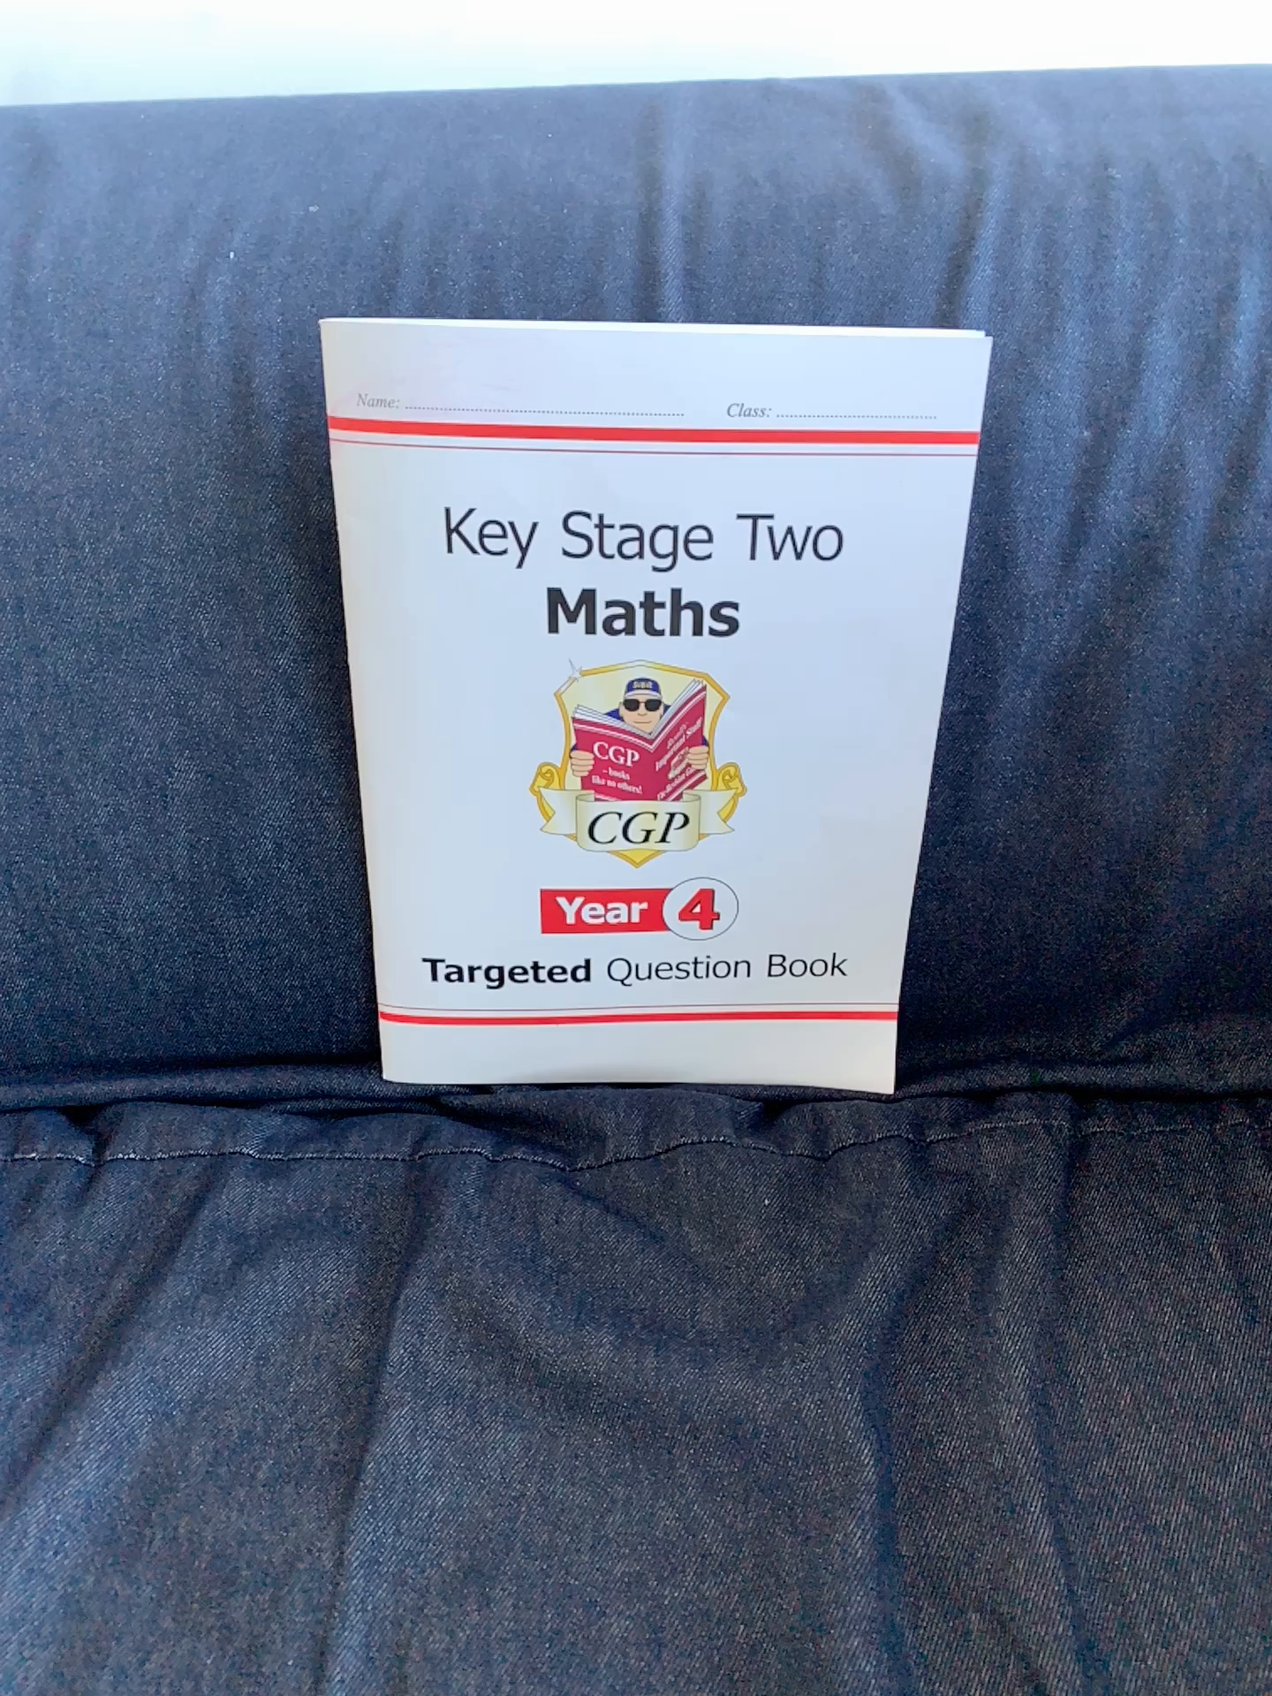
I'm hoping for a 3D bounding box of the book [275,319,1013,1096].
[{"bbox_3d":[0.003,-0.038,0.451,0.220,0.266,0.030,0,22,2],"label":"book"}]
